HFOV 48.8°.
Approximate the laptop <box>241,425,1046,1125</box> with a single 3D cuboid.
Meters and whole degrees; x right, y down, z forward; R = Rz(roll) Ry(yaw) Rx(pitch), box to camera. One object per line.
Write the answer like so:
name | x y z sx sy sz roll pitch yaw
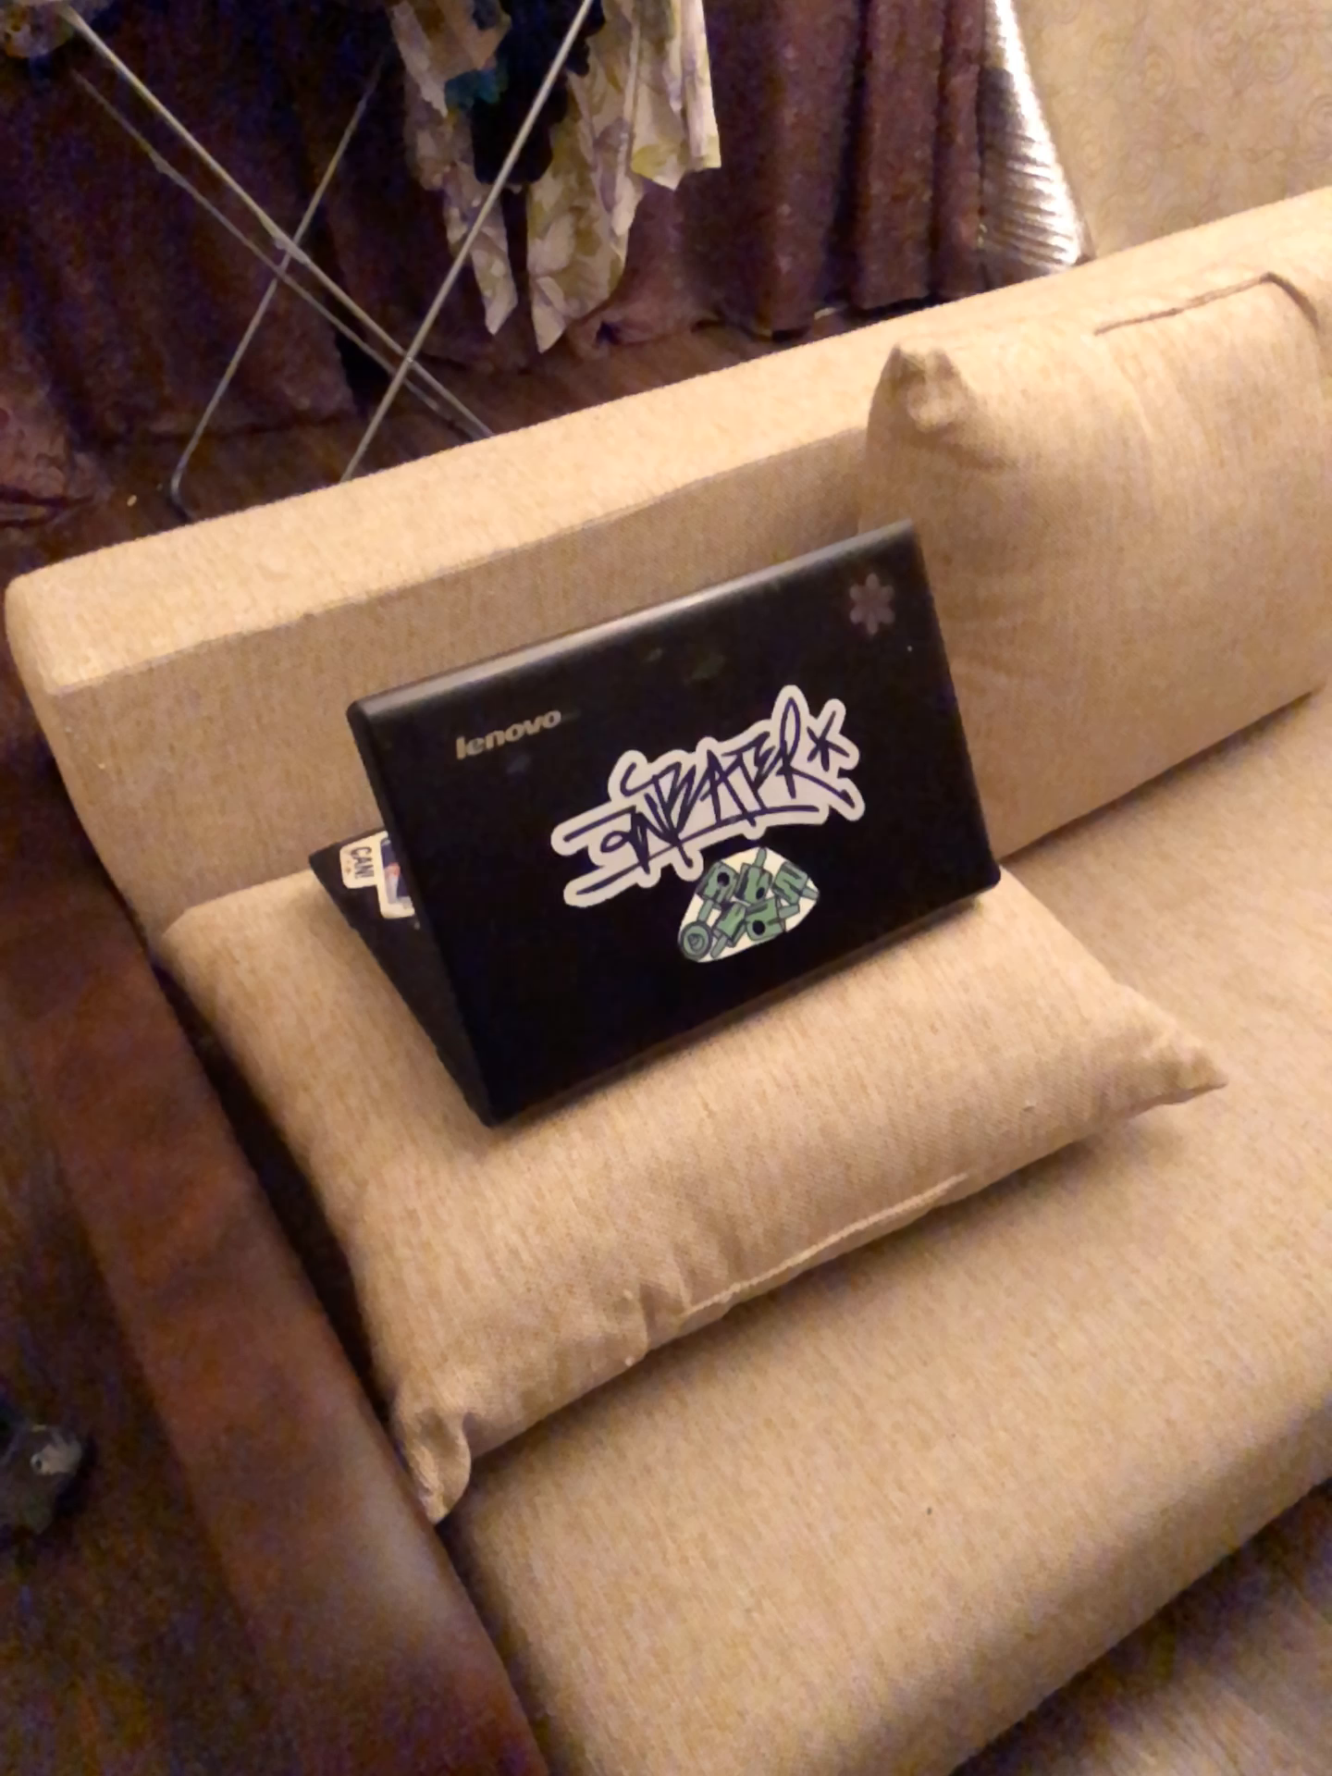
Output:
laptop | -0.008 -0.096 0.969 0.413 0.222 0.268 -24 50 -25
